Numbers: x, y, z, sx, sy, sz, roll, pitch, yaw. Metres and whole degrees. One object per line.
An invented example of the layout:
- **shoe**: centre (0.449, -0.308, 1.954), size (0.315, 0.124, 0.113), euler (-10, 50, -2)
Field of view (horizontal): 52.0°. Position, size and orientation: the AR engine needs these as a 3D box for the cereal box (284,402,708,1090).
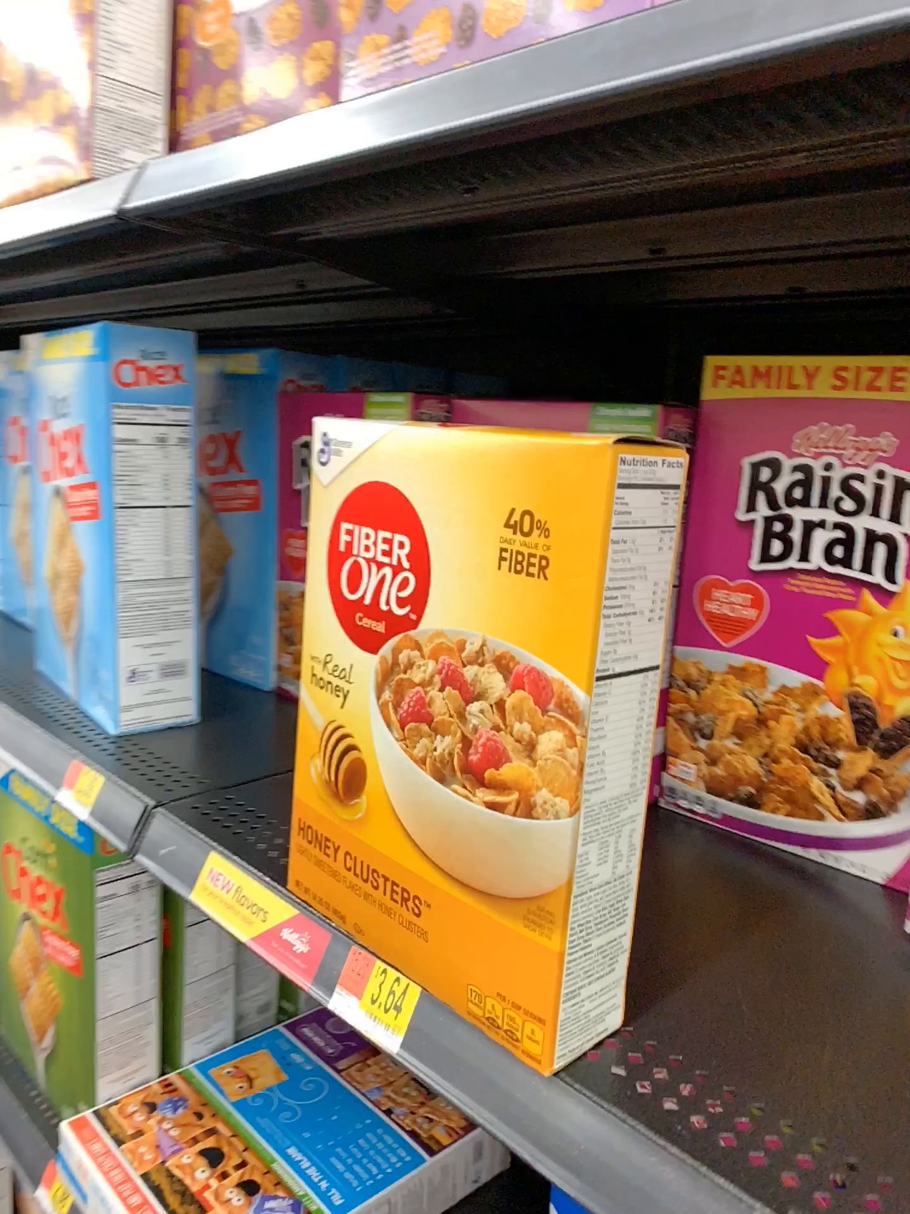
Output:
- **cereal box**: centre (0.002, 0.041, 0.432), size (0.050, 0.259, 0.200), euler (-5, 13, -42)
